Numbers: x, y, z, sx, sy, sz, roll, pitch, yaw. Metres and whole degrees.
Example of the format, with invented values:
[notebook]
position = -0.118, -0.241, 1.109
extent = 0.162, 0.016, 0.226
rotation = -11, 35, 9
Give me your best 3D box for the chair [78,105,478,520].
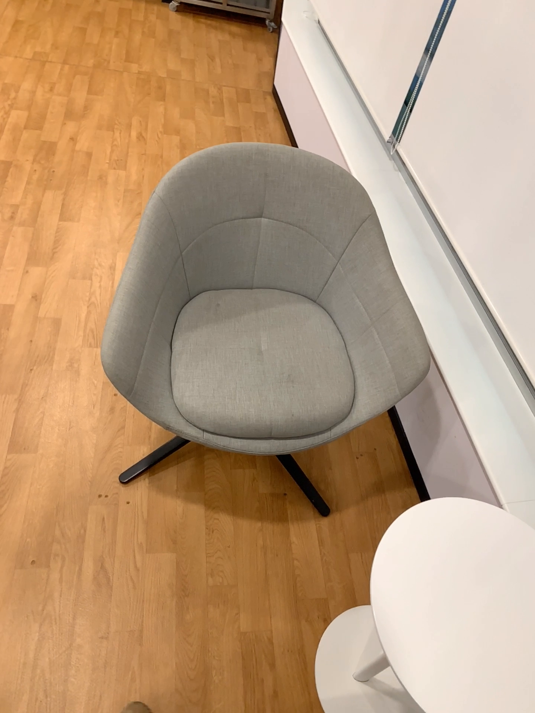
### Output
[chair]
position = -0.052, -0.063, 1.393
extent = 0.670, 0.754, 0.685
rotation = 3, 50, -11
